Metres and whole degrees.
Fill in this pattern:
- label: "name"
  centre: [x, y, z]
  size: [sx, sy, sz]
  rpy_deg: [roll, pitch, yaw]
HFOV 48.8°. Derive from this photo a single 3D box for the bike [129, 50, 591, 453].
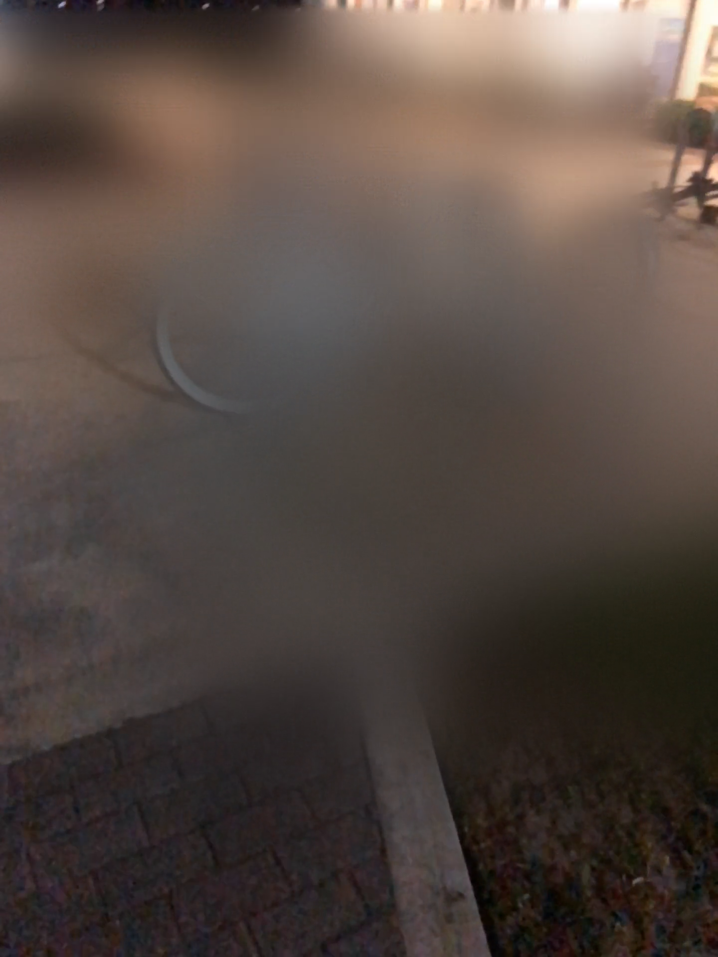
- label: "bike"
  centre: [-0.012, -1.001, 3.106]
  size: [1.681, 1.094, 0.743]
  rpy_deg: [-17, 34, -26]
